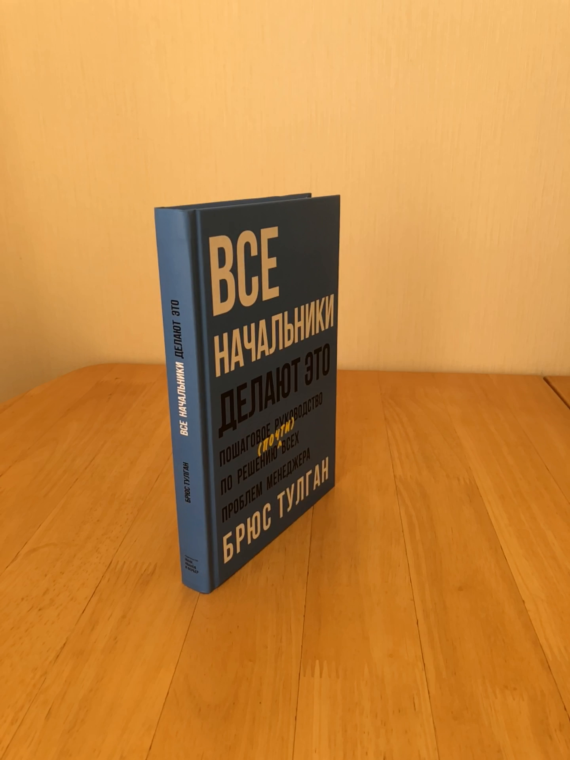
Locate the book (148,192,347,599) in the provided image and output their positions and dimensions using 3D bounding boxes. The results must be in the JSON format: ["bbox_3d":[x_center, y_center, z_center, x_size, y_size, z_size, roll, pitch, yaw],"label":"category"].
[{"bbox_3d":[-0.011,-0.001,0.381,0.025,0.208,0.150,11,22,31],"label":"book"}]
